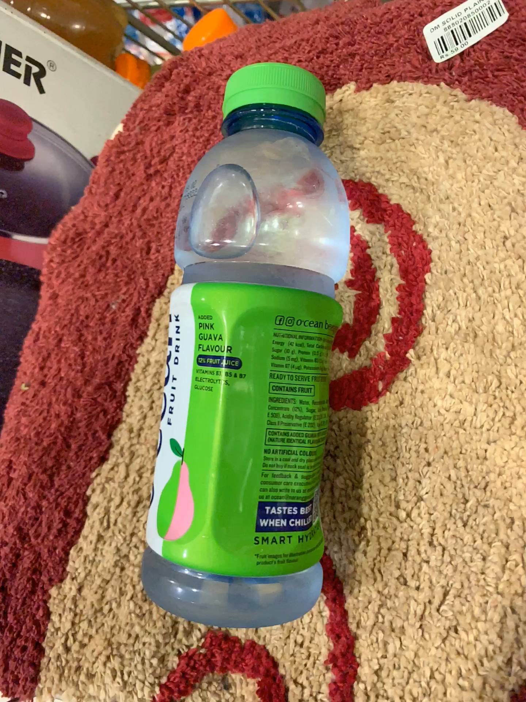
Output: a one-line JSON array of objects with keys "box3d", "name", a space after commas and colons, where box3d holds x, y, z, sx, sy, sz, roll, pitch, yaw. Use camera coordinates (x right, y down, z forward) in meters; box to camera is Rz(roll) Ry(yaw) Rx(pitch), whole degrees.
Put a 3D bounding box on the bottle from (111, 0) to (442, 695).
[{"box3d": [0.003, -0.011, 0.203, 0.080, 0.070, 0.210, 2, 87, 51], "name": "bottle"}]
